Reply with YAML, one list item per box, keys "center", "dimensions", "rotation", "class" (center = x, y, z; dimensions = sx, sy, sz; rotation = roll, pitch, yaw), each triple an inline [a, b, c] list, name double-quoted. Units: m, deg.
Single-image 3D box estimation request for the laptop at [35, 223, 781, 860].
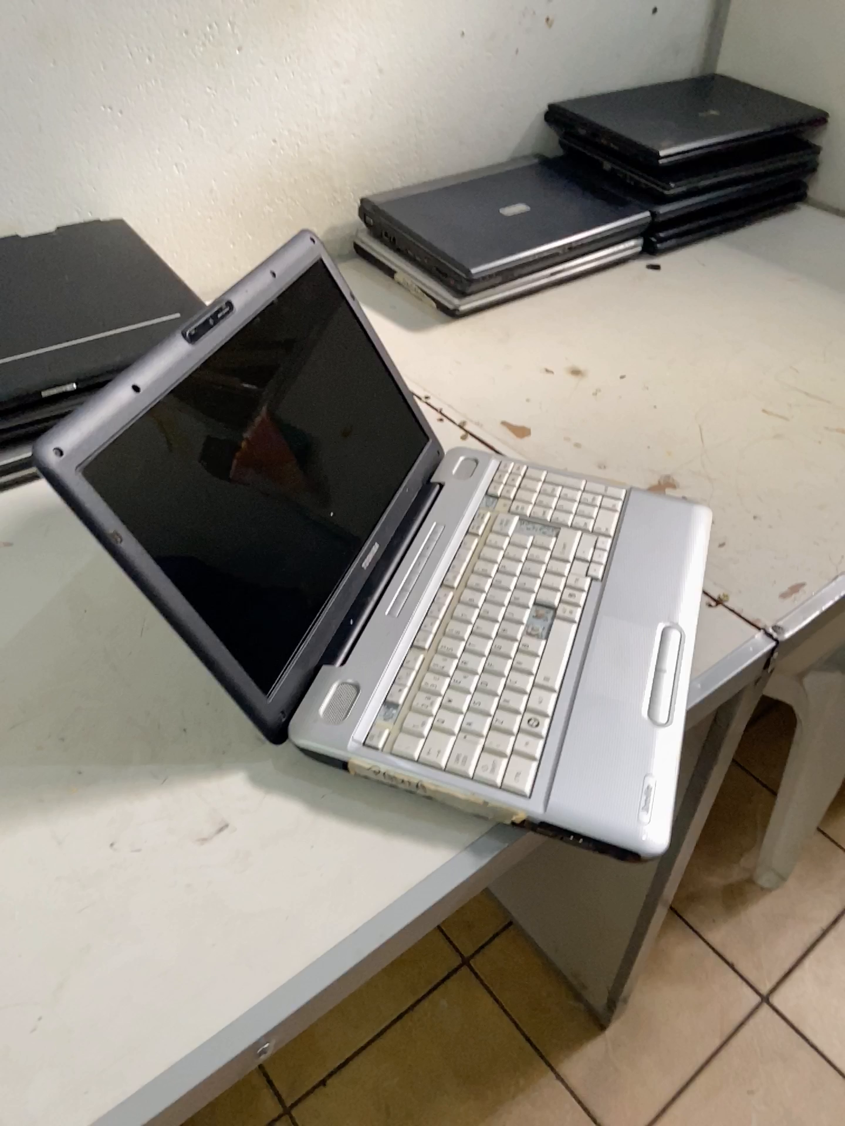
- center: [0.025, -0.058, 0.640]
  dimensions: [0.399, 0.190, 0.373]
  rotation: [15, 43, 12]
  class: "laptop"
